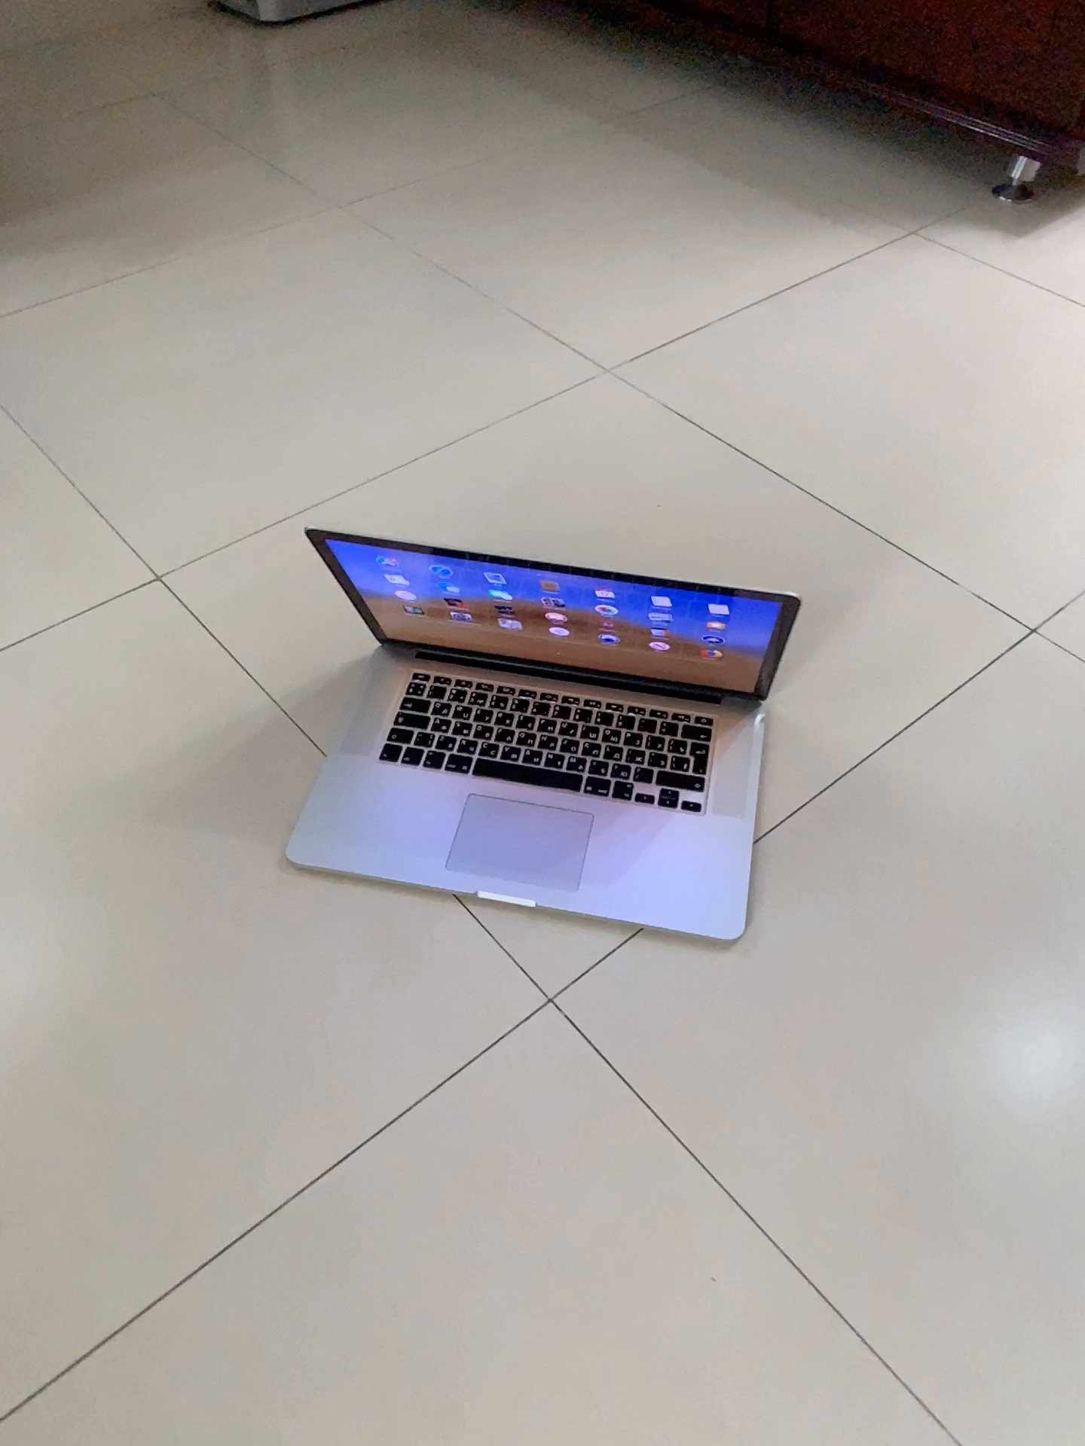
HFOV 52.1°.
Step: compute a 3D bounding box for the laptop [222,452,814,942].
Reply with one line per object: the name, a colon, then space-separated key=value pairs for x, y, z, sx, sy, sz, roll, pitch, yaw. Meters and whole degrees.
laptop: x=-0.003 y=-0.025 z=0.839 sx=0.359 sy=0.207 sz=0.242 roll=9 pitch=48 yaw=8
